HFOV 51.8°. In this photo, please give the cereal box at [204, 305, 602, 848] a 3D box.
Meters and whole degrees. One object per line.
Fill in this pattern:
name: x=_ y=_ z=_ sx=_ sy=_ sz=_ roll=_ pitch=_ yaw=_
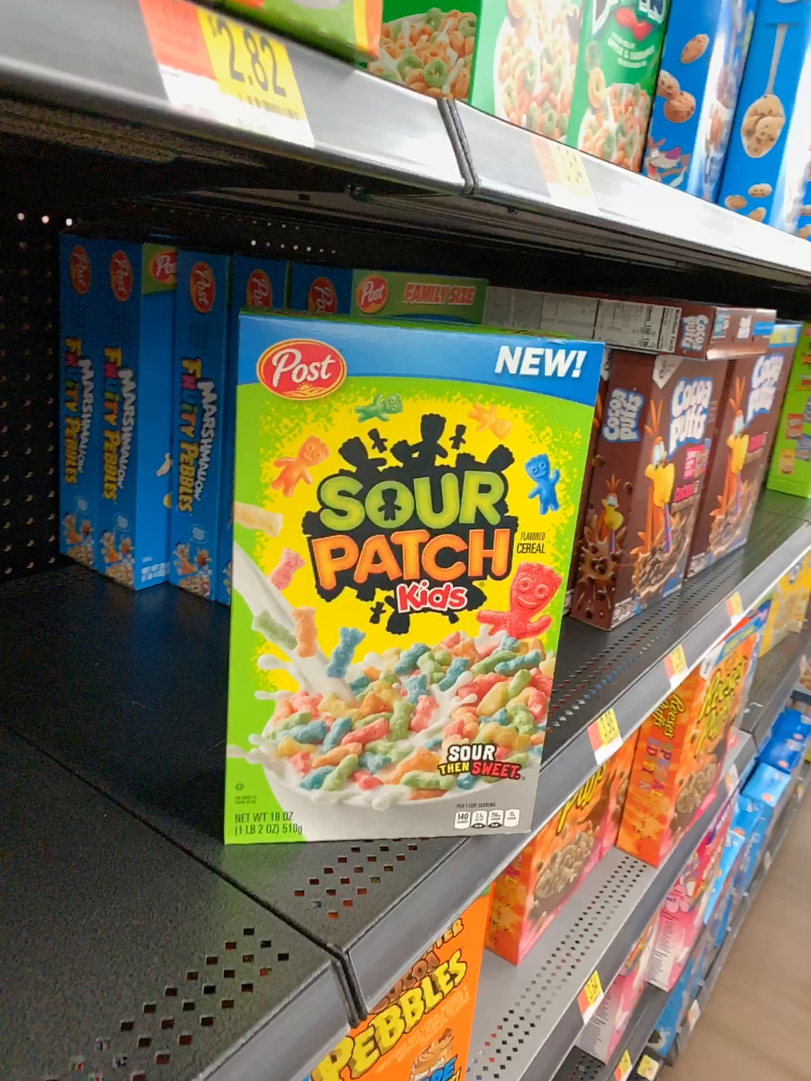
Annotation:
cereal box: x=-0.015 y=0.027 z=0.510 sx=0.200 sy=0.309 sz=0.080 roll=2 pitch=18 yaw=-12
